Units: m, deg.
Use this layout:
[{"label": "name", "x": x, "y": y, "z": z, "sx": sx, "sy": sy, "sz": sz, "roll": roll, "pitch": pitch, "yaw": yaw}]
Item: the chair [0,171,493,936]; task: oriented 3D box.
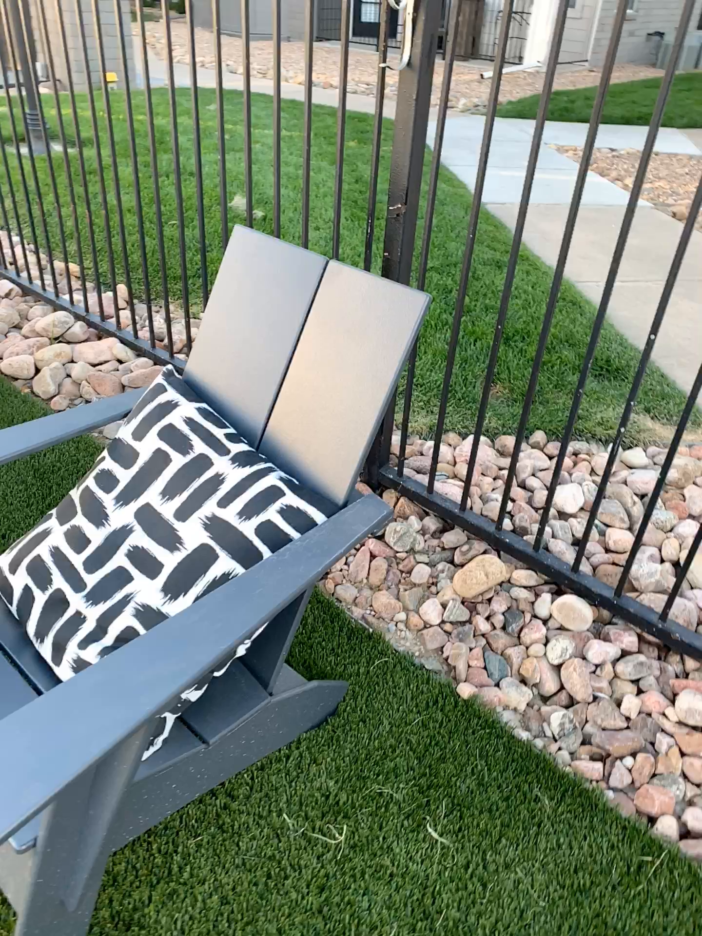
[{"label": "chair", "x": -0.359, "y": 0.094, "z": 1.085, "sx": 0.622, "sy": 0.806, "sz": 0.882, "roll": 31, "pitch": 43, "yaw": 33}]
